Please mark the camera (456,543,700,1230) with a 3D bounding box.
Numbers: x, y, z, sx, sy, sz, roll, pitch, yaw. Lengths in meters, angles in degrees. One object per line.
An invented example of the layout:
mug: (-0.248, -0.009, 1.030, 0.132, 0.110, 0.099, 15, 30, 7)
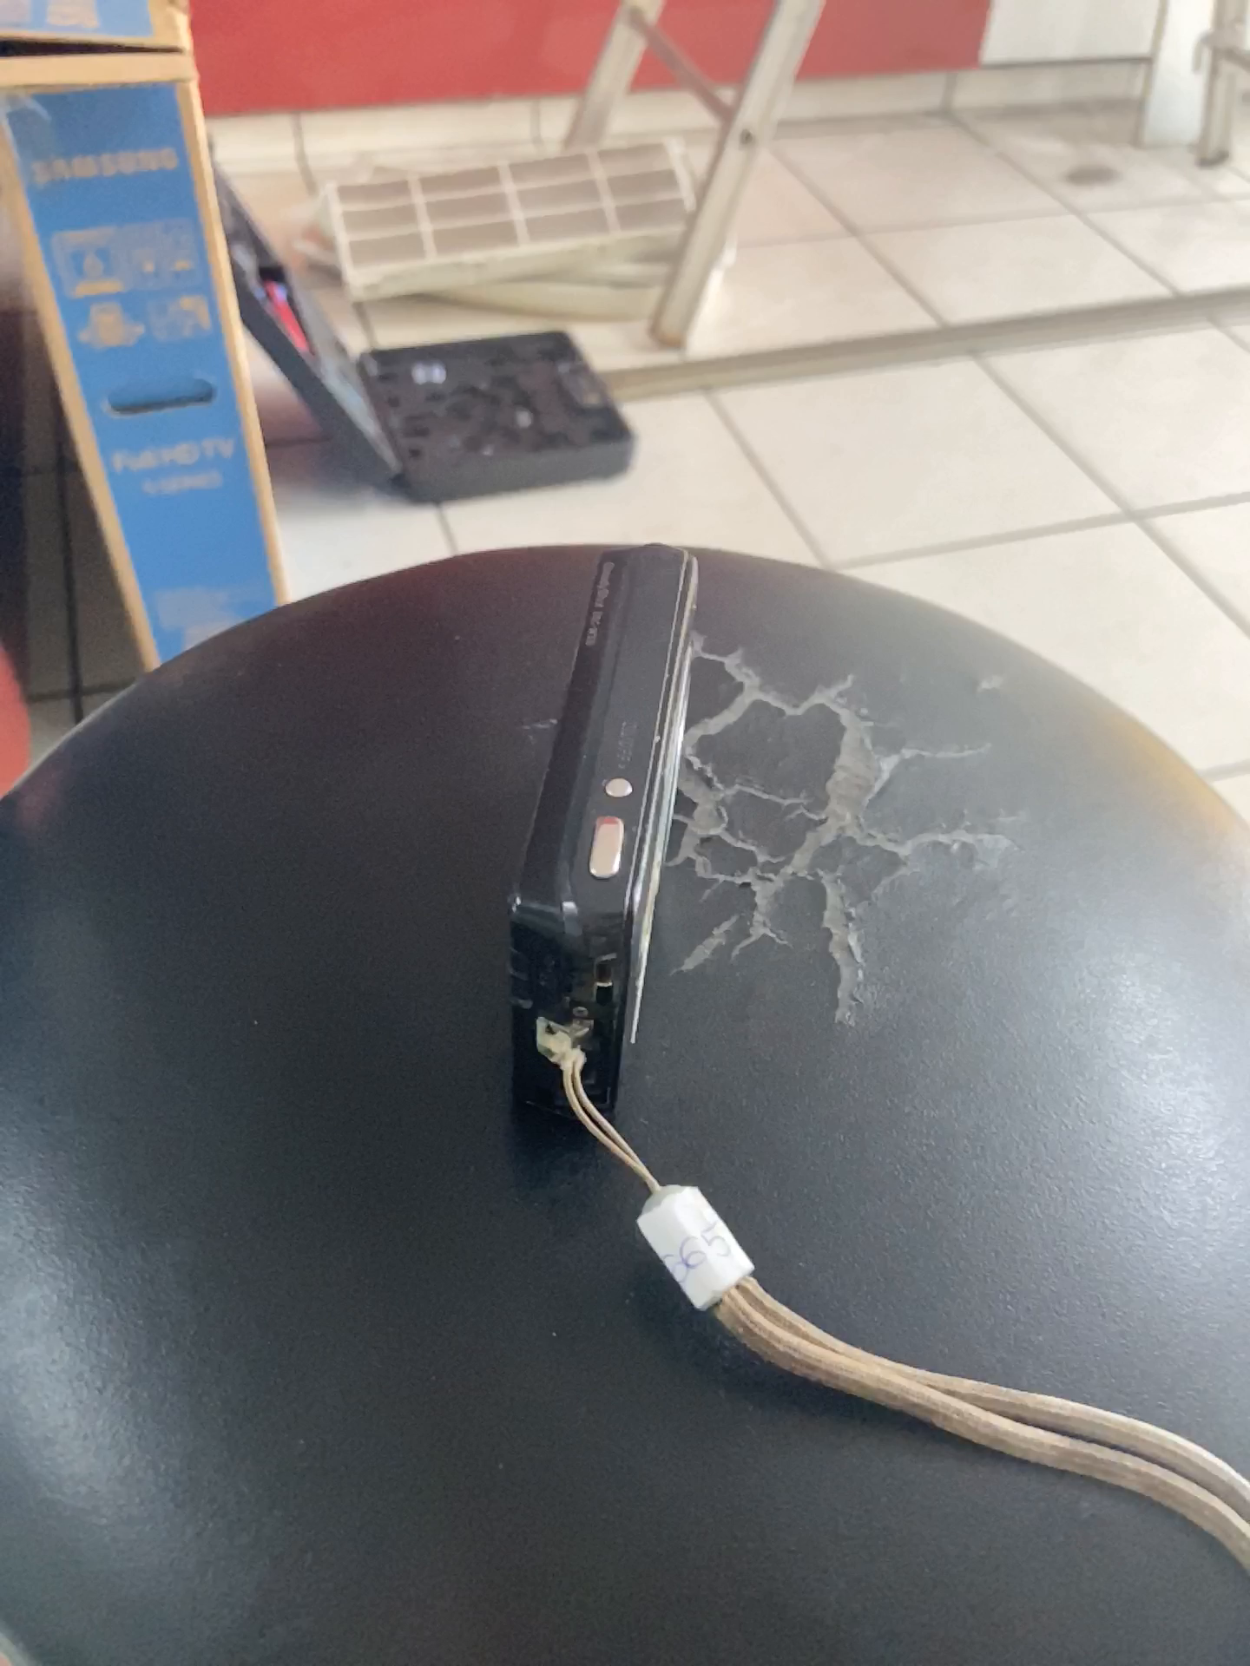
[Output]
camera: (-0.005, 0.004, 0.223, 0.020, 0.050, 0.111, 7, 47, 4)
